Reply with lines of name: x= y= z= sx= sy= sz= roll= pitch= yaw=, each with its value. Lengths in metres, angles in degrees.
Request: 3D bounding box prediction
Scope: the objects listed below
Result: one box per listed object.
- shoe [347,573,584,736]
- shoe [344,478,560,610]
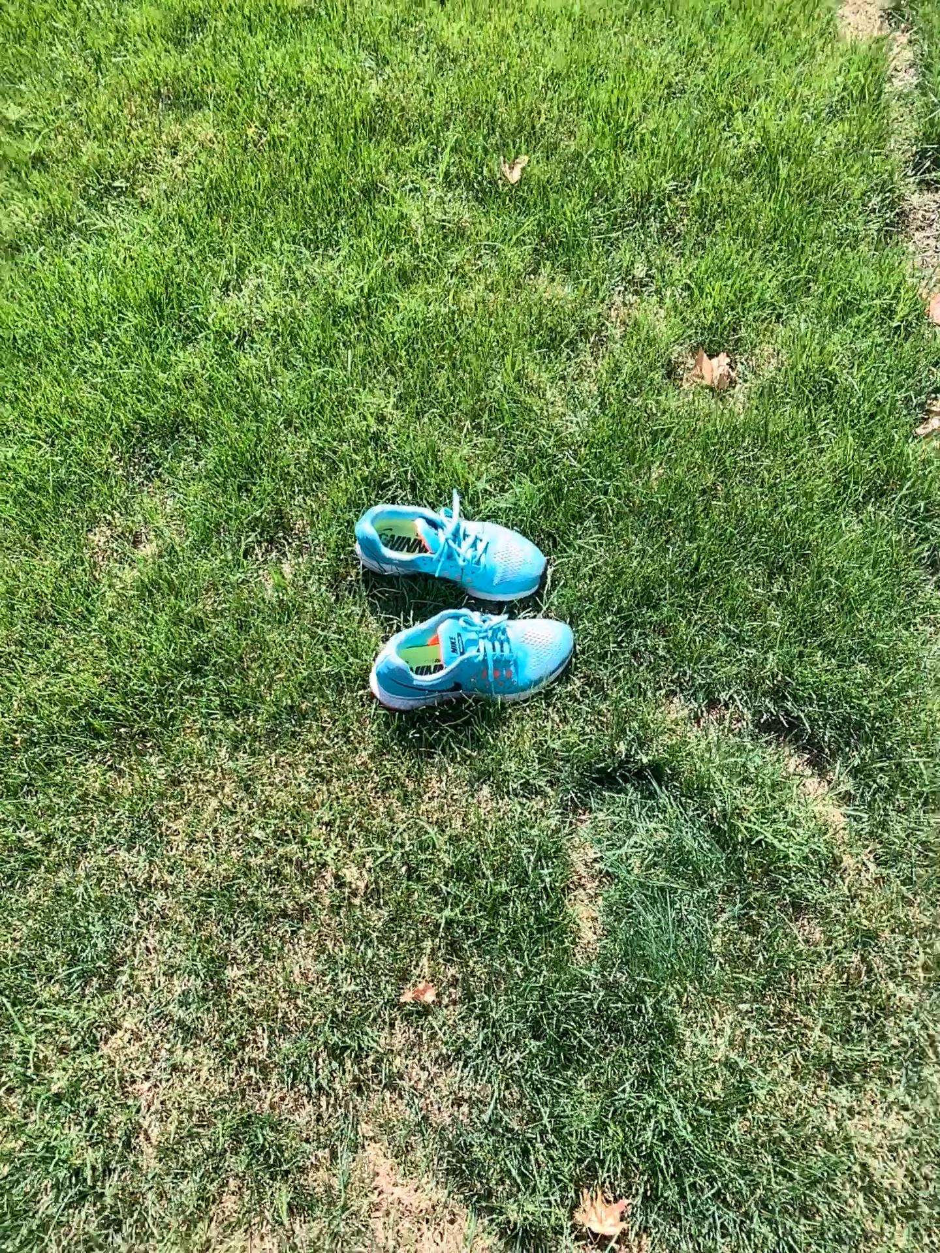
shoe: x=-0.006 y=0.035 z=1.165 sx=0.260 sy=0.090 sz=0.120 roll=-12 pitch=63 yaw=-2
shoe: x=-0.019 y=-0.106 z=1.219 sx=0.250 sy=0.070 sz=0.120 roll=7 pitch=67 yaw=8
